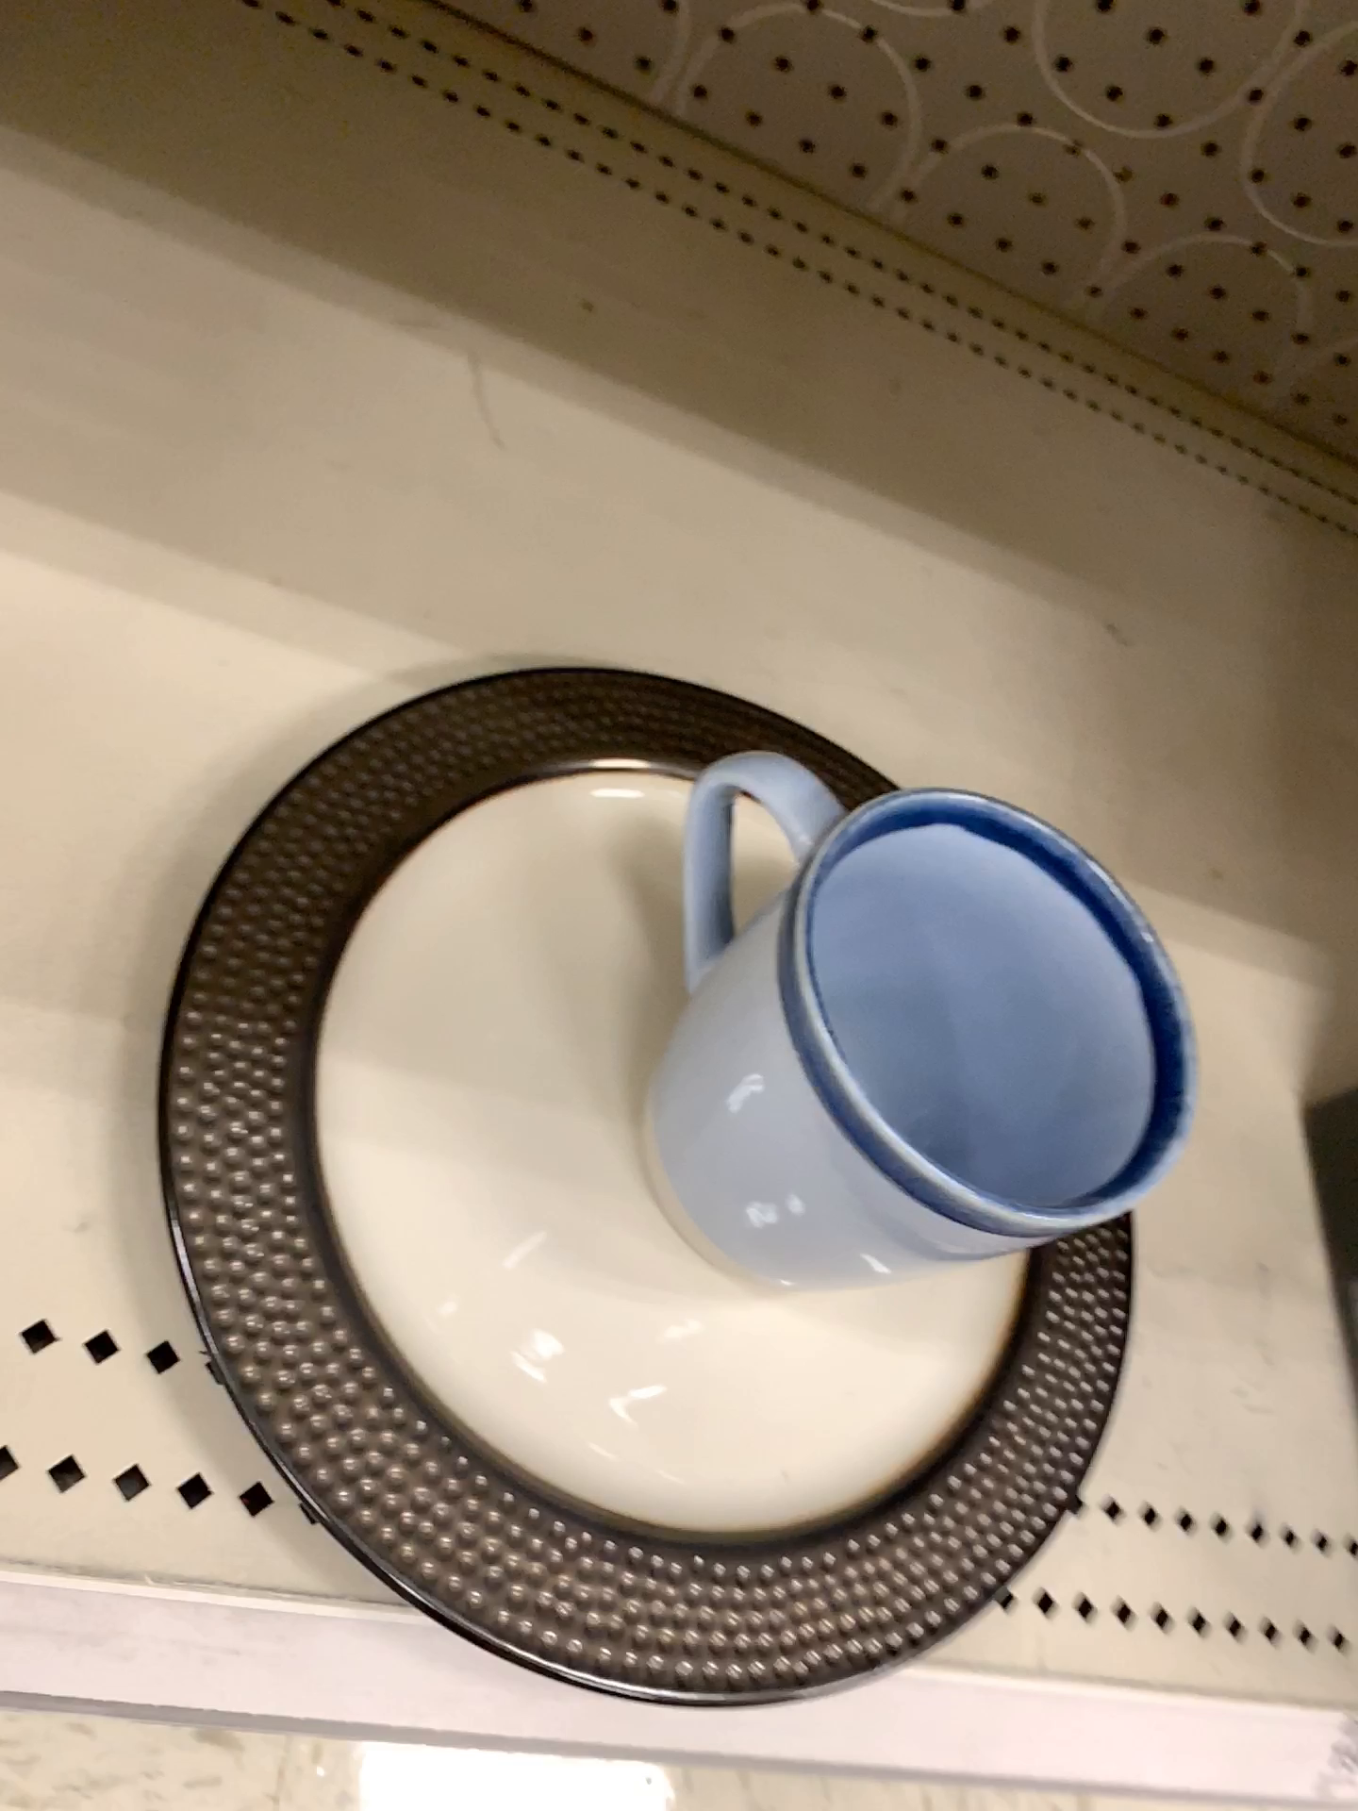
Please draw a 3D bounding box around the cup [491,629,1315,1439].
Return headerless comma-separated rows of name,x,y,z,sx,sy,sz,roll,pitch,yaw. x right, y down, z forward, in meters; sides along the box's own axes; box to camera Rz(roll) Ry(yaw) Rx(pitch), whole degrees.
cup,0.044,0.029,0.316,0.094,0.094,0.127,-29,79,-34
